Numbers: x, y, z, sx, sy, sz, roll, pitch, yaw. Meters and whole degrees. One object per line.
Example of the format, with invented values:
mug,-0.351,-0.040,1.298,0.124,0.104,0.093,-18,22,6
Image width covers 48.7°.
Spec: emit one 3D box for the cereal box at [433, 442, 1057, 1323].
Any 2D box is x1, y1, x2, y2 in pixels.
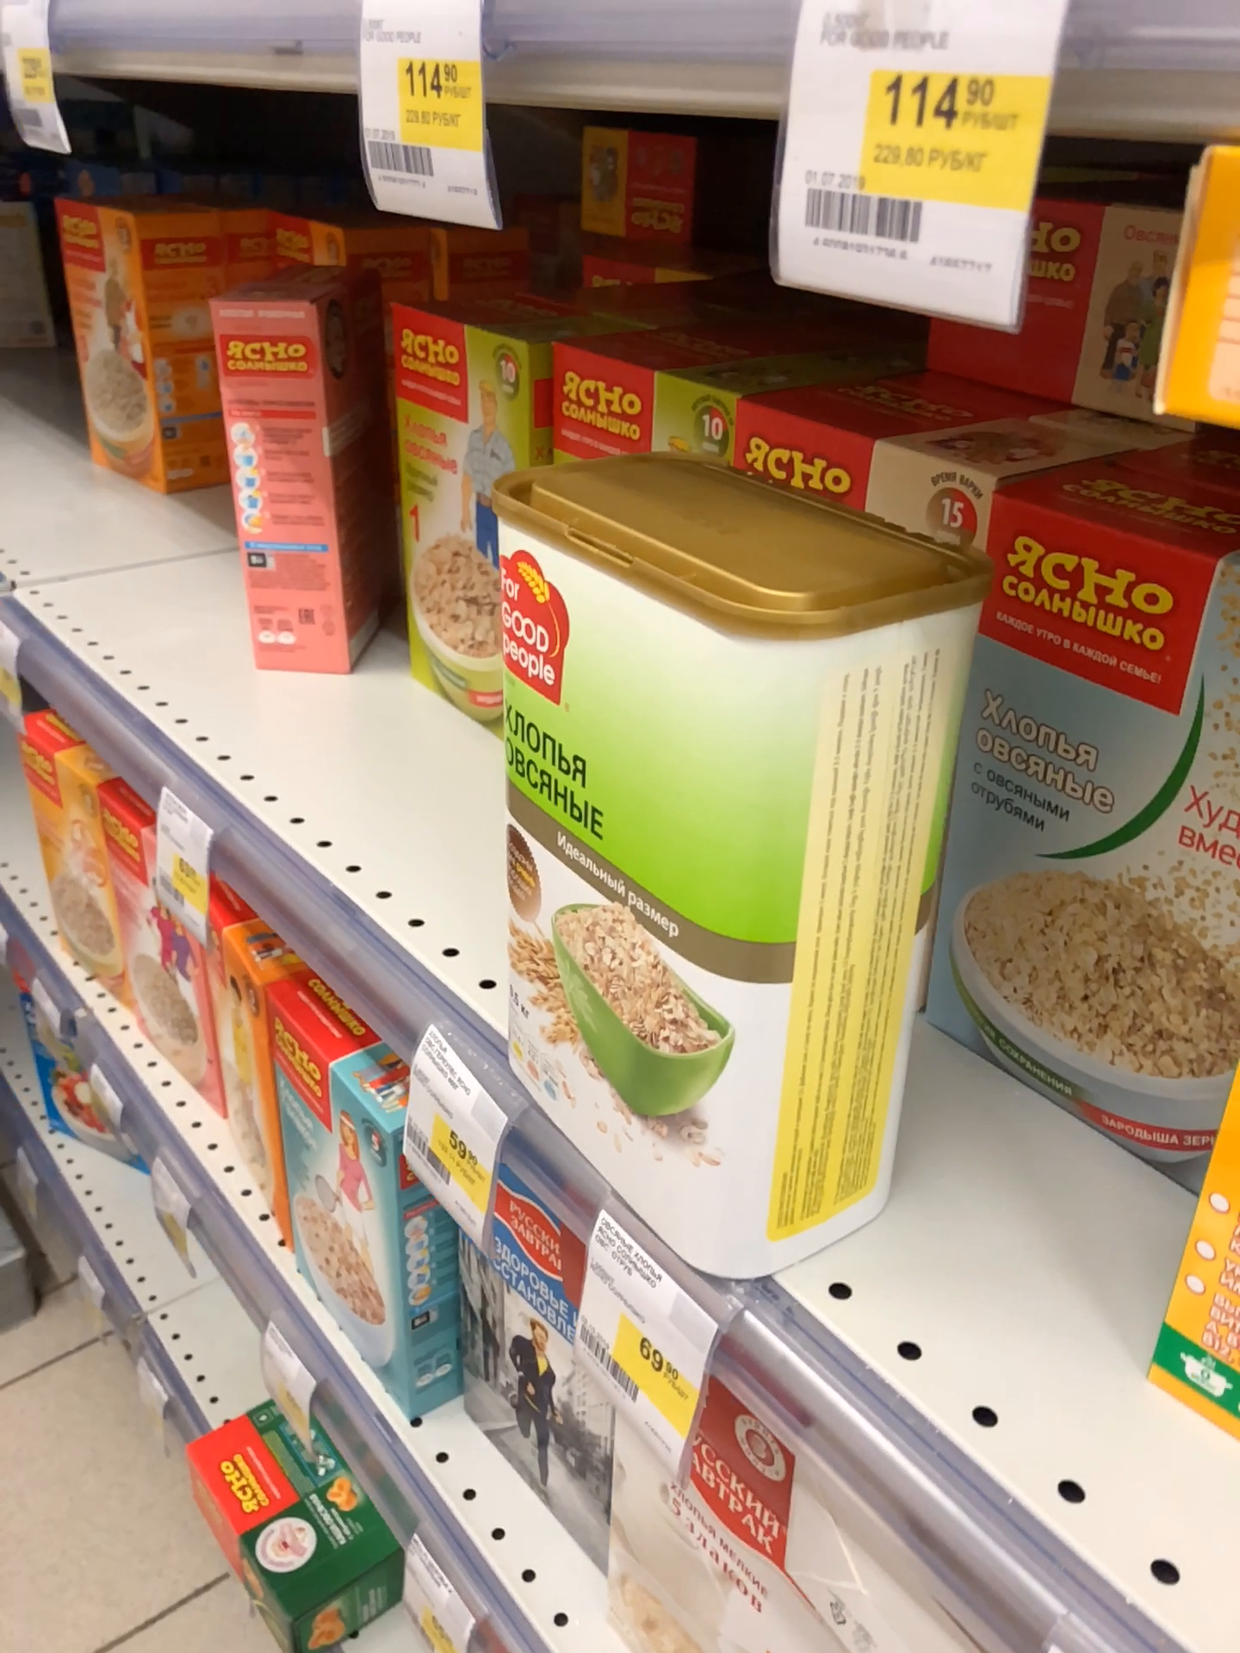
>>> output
cereal box,0.022,0.006,0.387,0.090,0.189,0.141,-15,33,-29
